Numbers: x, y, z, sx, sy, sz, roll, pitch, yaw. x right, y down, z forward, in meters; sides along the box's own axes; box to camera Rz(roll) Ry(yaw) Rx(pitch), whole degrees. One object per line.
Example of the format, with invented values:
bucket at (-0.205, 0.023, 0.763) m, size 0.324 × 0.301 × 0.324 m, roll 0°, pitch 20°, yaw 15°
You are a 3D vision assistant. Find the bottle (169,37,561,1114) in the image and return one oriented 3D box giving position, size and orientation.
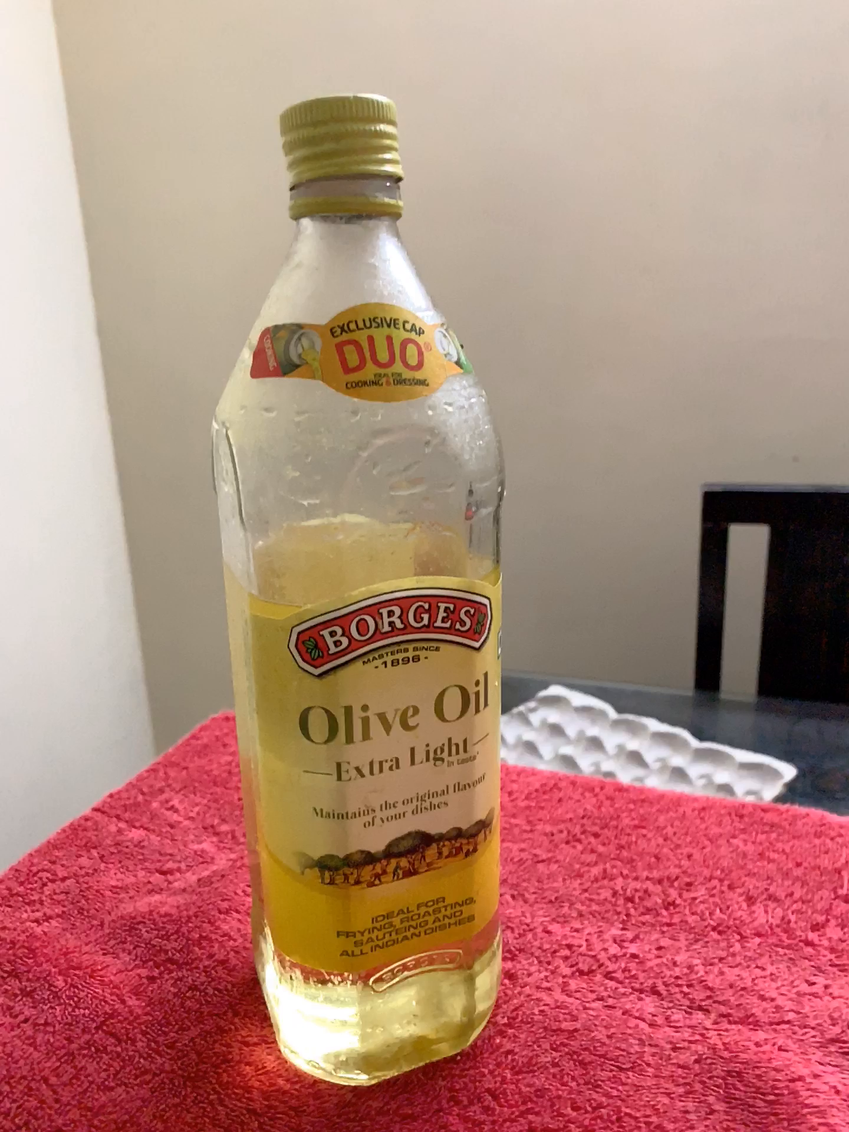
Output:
bottle at (-0.014, 0.010, 0.255) m, size 0.080 × 0.268 × 0.070 m, roll -8°, pitch 17°, yaw -18°
